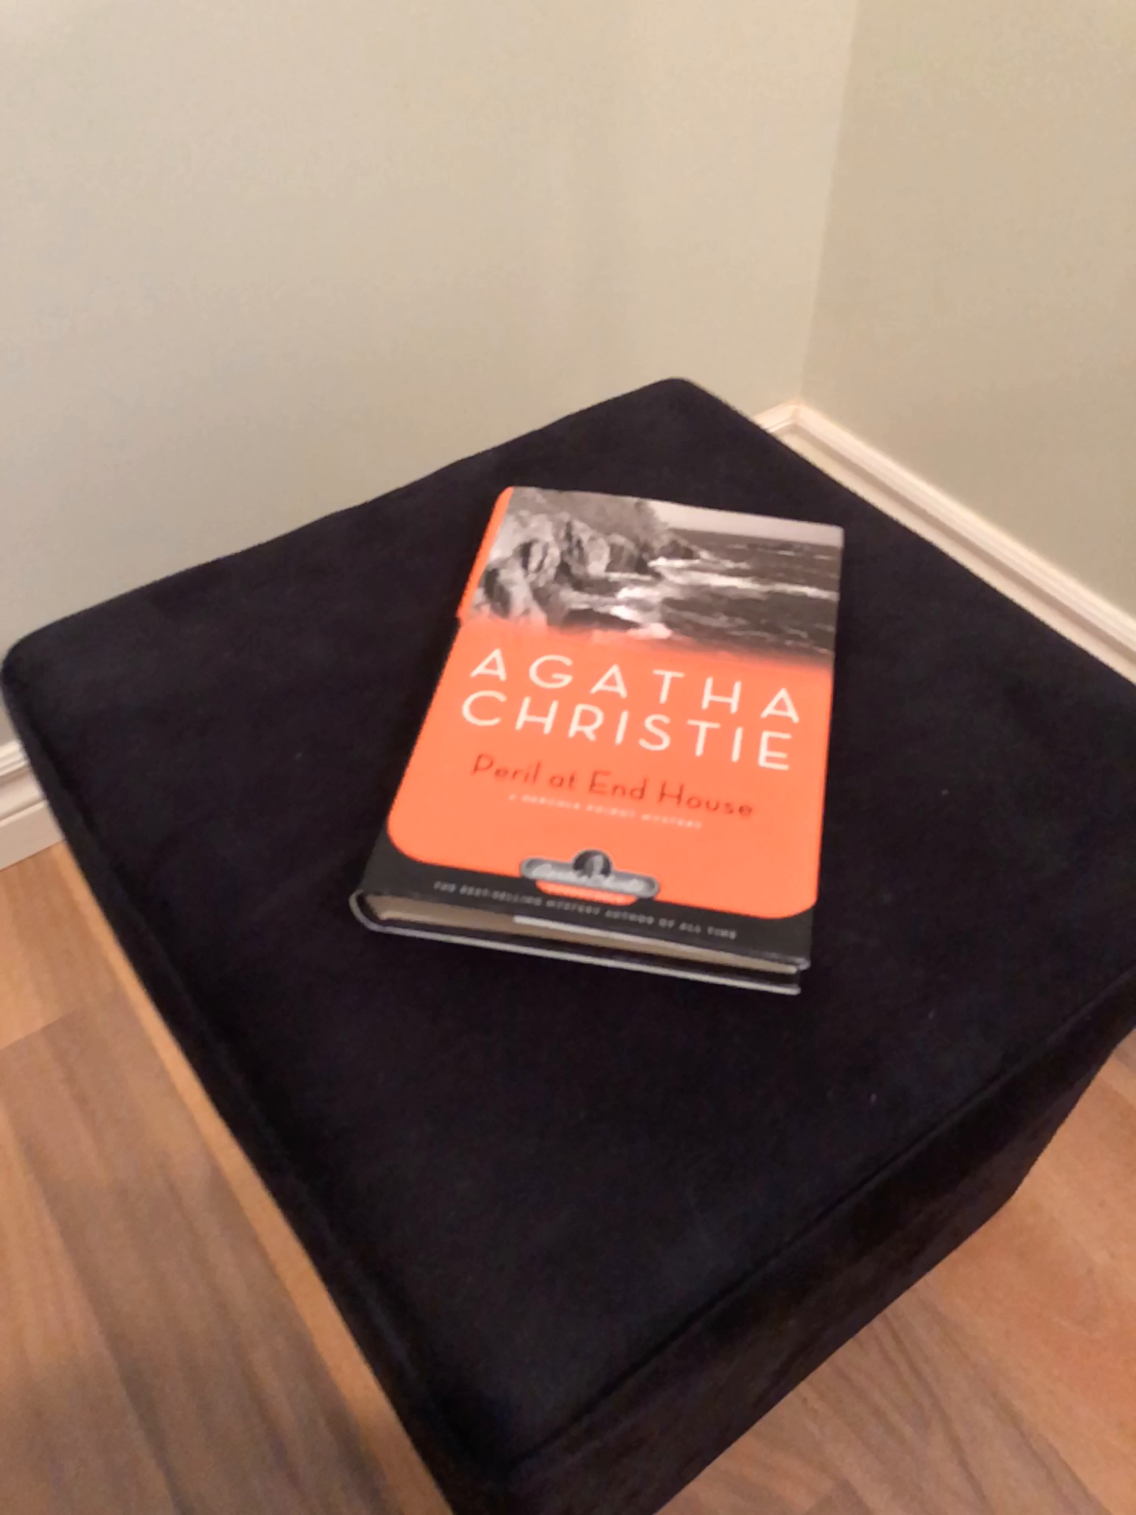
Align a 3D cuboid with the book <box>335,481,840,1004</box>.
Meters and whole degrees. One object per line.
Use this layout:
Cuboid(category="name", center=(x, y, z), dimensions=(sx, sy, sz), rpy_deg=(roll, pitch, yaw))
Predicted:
Cuboid(category="book", center=(0.019, -0.019, 0.451), dimensions=(0.146, 0.030, 0.207), rpy_deg=(8, 49, 7))
